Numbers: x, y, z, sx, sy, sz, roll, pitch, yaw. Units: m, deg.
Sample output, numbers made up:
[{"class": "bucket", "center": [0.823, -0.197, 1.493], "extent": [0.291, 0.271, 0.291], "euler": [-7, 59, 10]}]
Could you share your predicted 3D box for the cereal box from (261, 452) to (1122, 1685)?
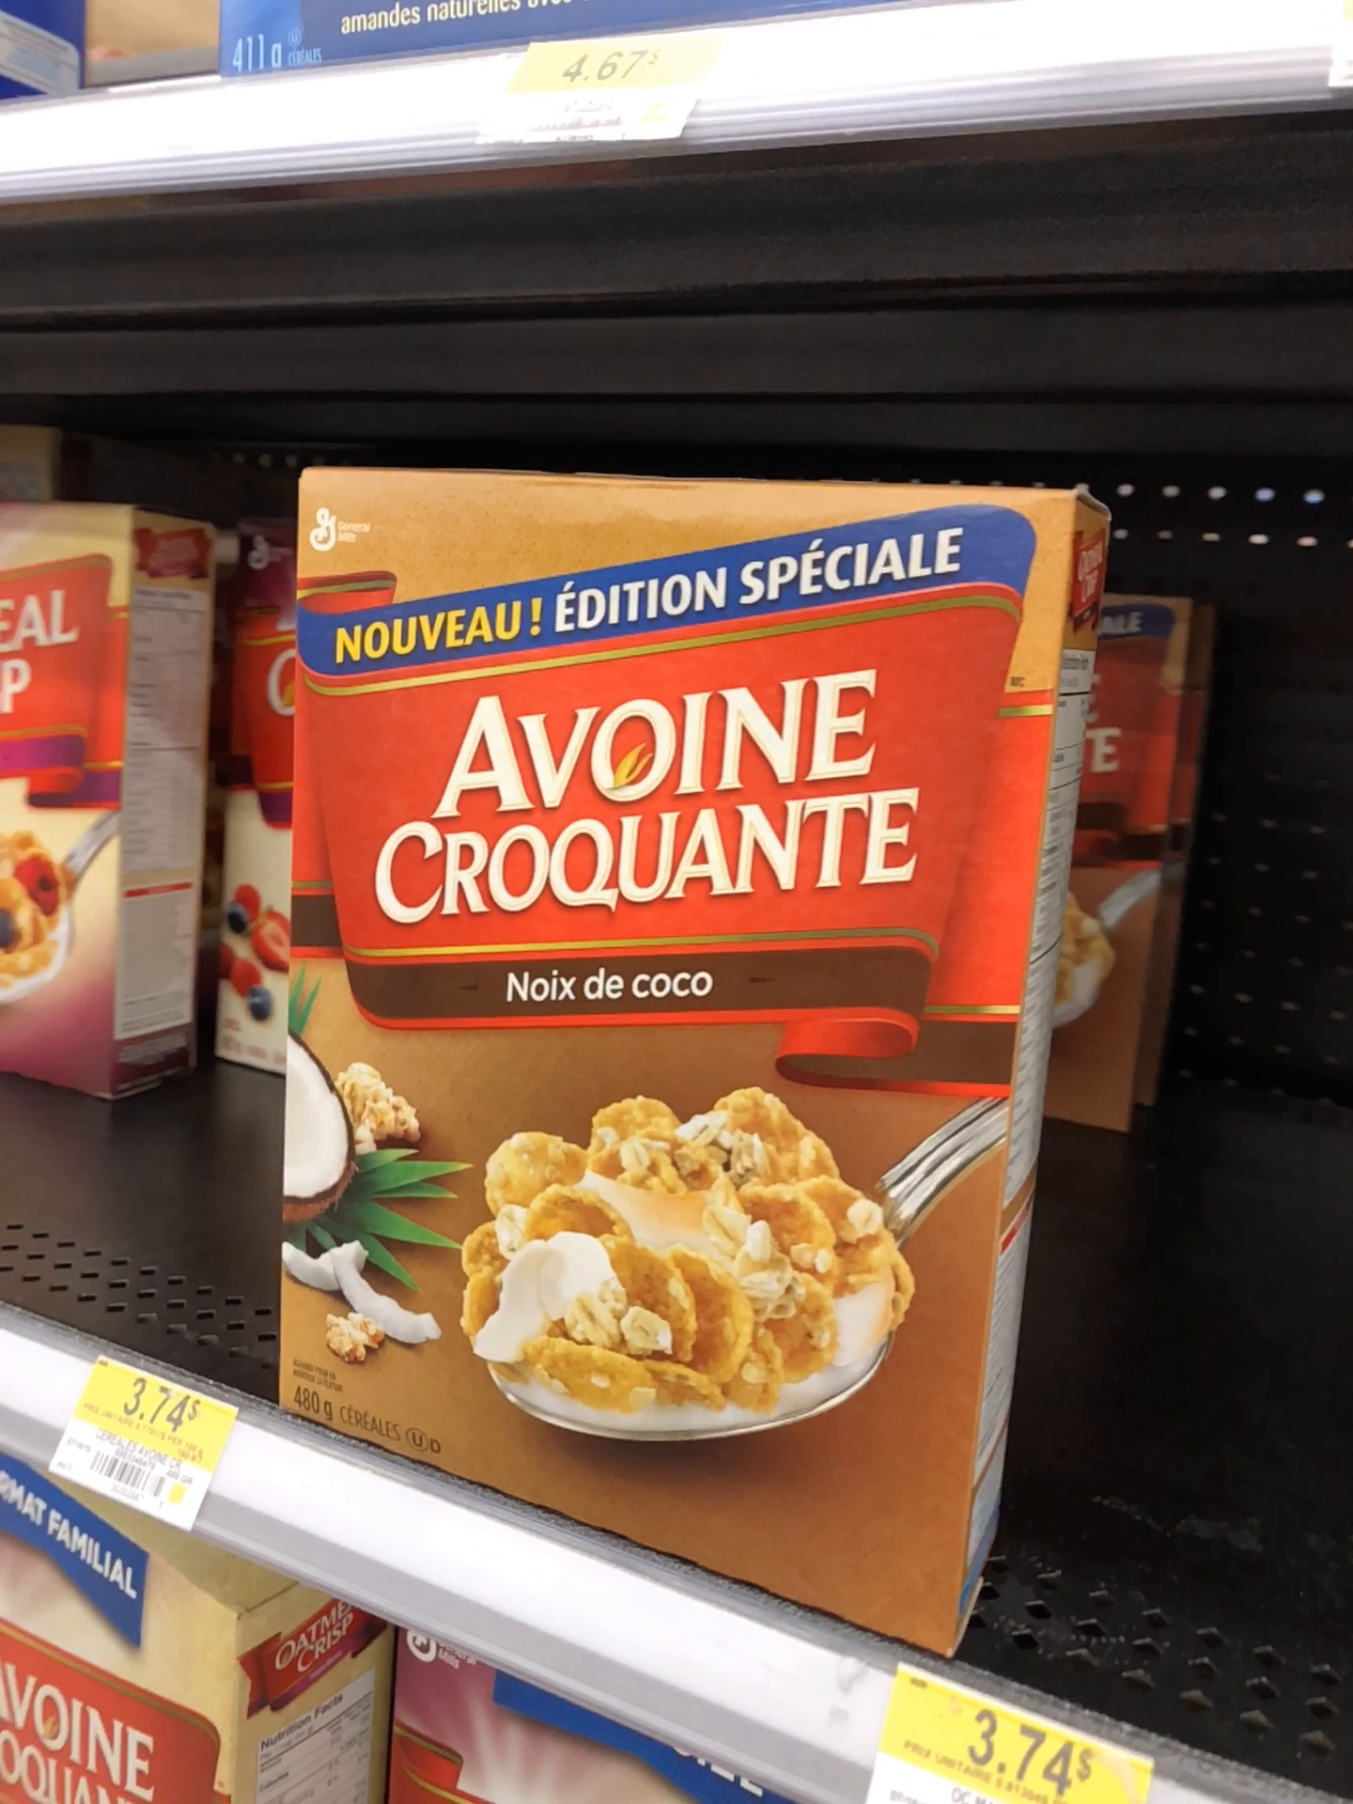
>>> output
[{"class": "cereal box", "center": [-0.009, 0.028, 0.385], "extent": [0.200, 0.269, 0.050], "euler": [9, 11, 26]}]
